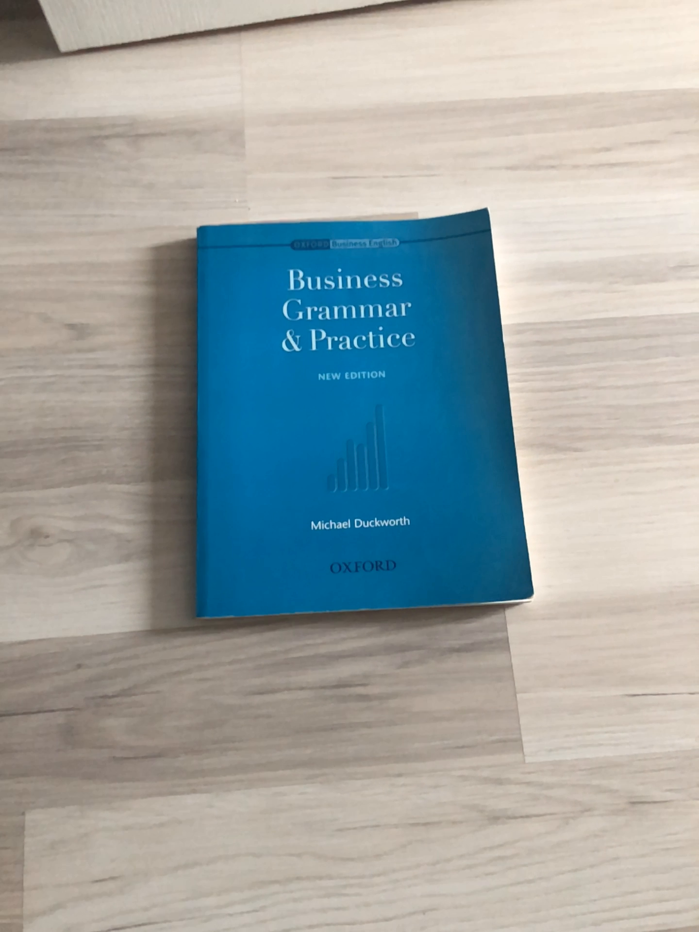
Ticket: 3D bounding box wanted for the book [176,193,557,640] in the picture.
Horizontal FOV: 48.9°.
[{"bbox_3d":[0.003,-0.042,0.525,0.230,0.040,0.300,-2,74,-2],"label":"book"}]
